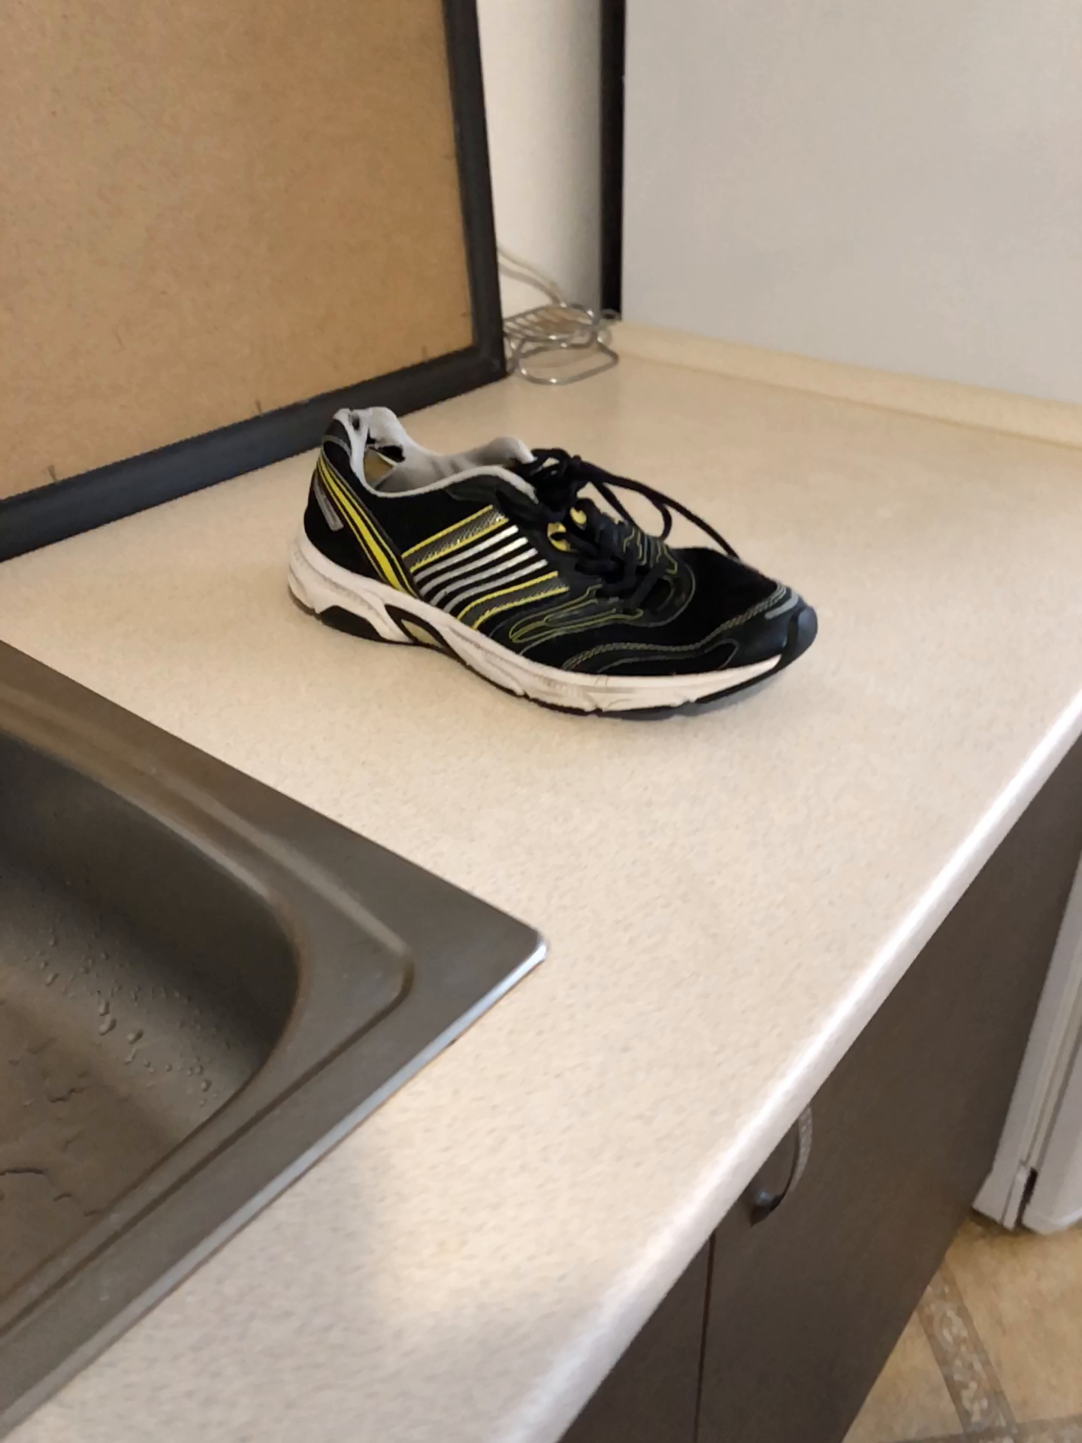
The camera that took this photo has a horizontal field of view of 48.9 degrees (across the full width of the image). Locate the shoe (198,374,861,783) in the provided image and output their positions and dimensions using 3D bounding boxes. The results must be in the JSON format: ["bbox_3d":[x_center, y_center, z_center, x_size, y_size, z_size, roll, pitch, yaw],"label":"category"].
[{"bbox_3d":[-0.015,-0.087,0.592,0.311,0.099,0.111,20,38,30],"label":"shoe"}]
